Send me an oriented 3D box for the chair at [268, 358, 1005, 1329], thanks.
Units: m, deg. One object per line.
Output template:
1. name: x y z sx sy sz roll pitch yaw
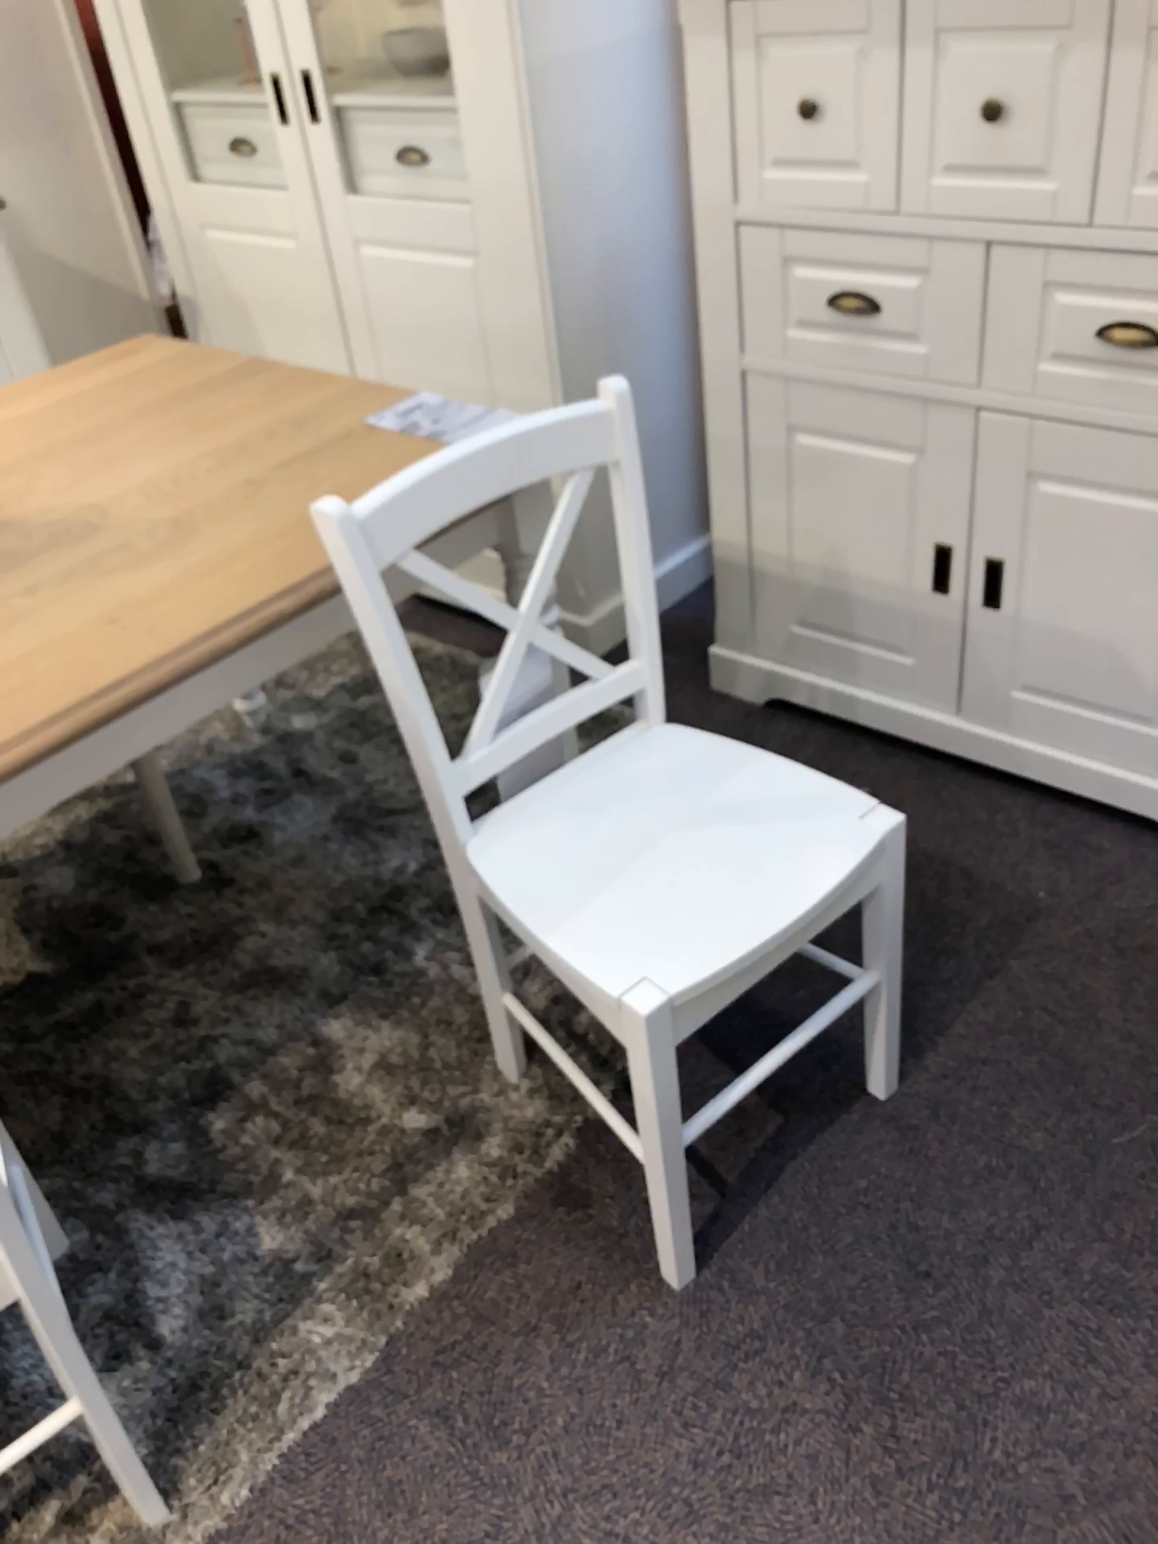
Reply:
1. chair: 0.089 0.060 1.353 0.462 0.785 0.461 -33 42 -31
